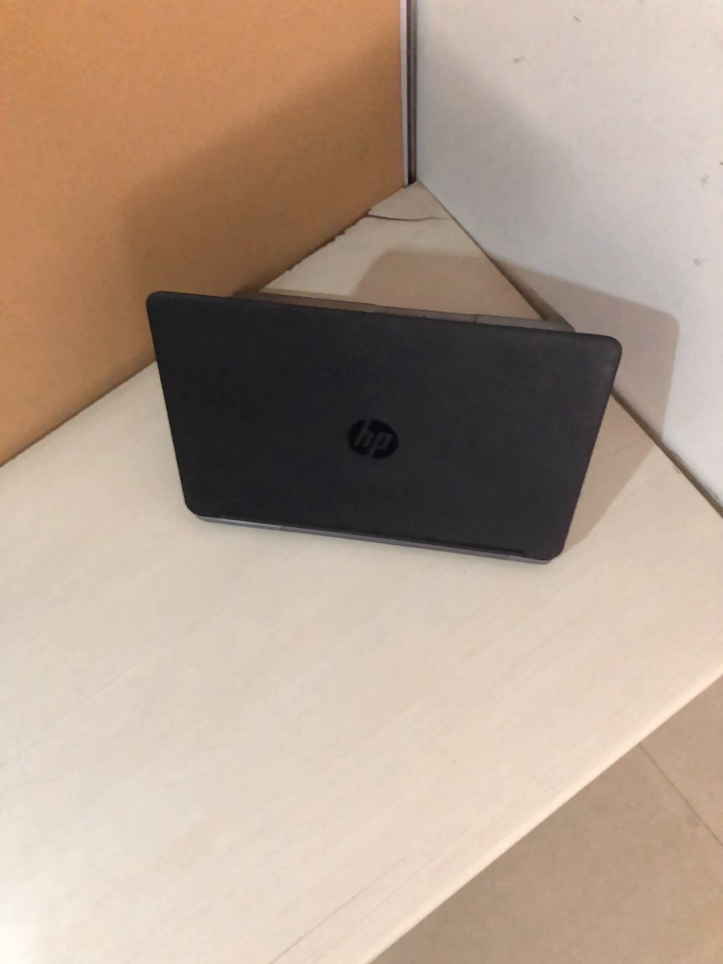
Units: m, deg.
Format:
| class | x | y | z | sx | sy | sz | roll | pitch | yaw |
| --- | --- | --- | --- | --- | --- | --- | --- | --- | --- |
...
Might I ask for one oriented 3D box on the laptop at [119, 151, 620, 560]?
| class | x | y | z | sx | sy | sz | roll | pitch | yaw |
| --- | --- | --- | --- | --- | --- | --- | --- | --- | --- |
| laptop | 0.017 | -0.089 | 0.633 | 0.318 | 0.193 | 0.228 | 6 | 74 | 5 |
